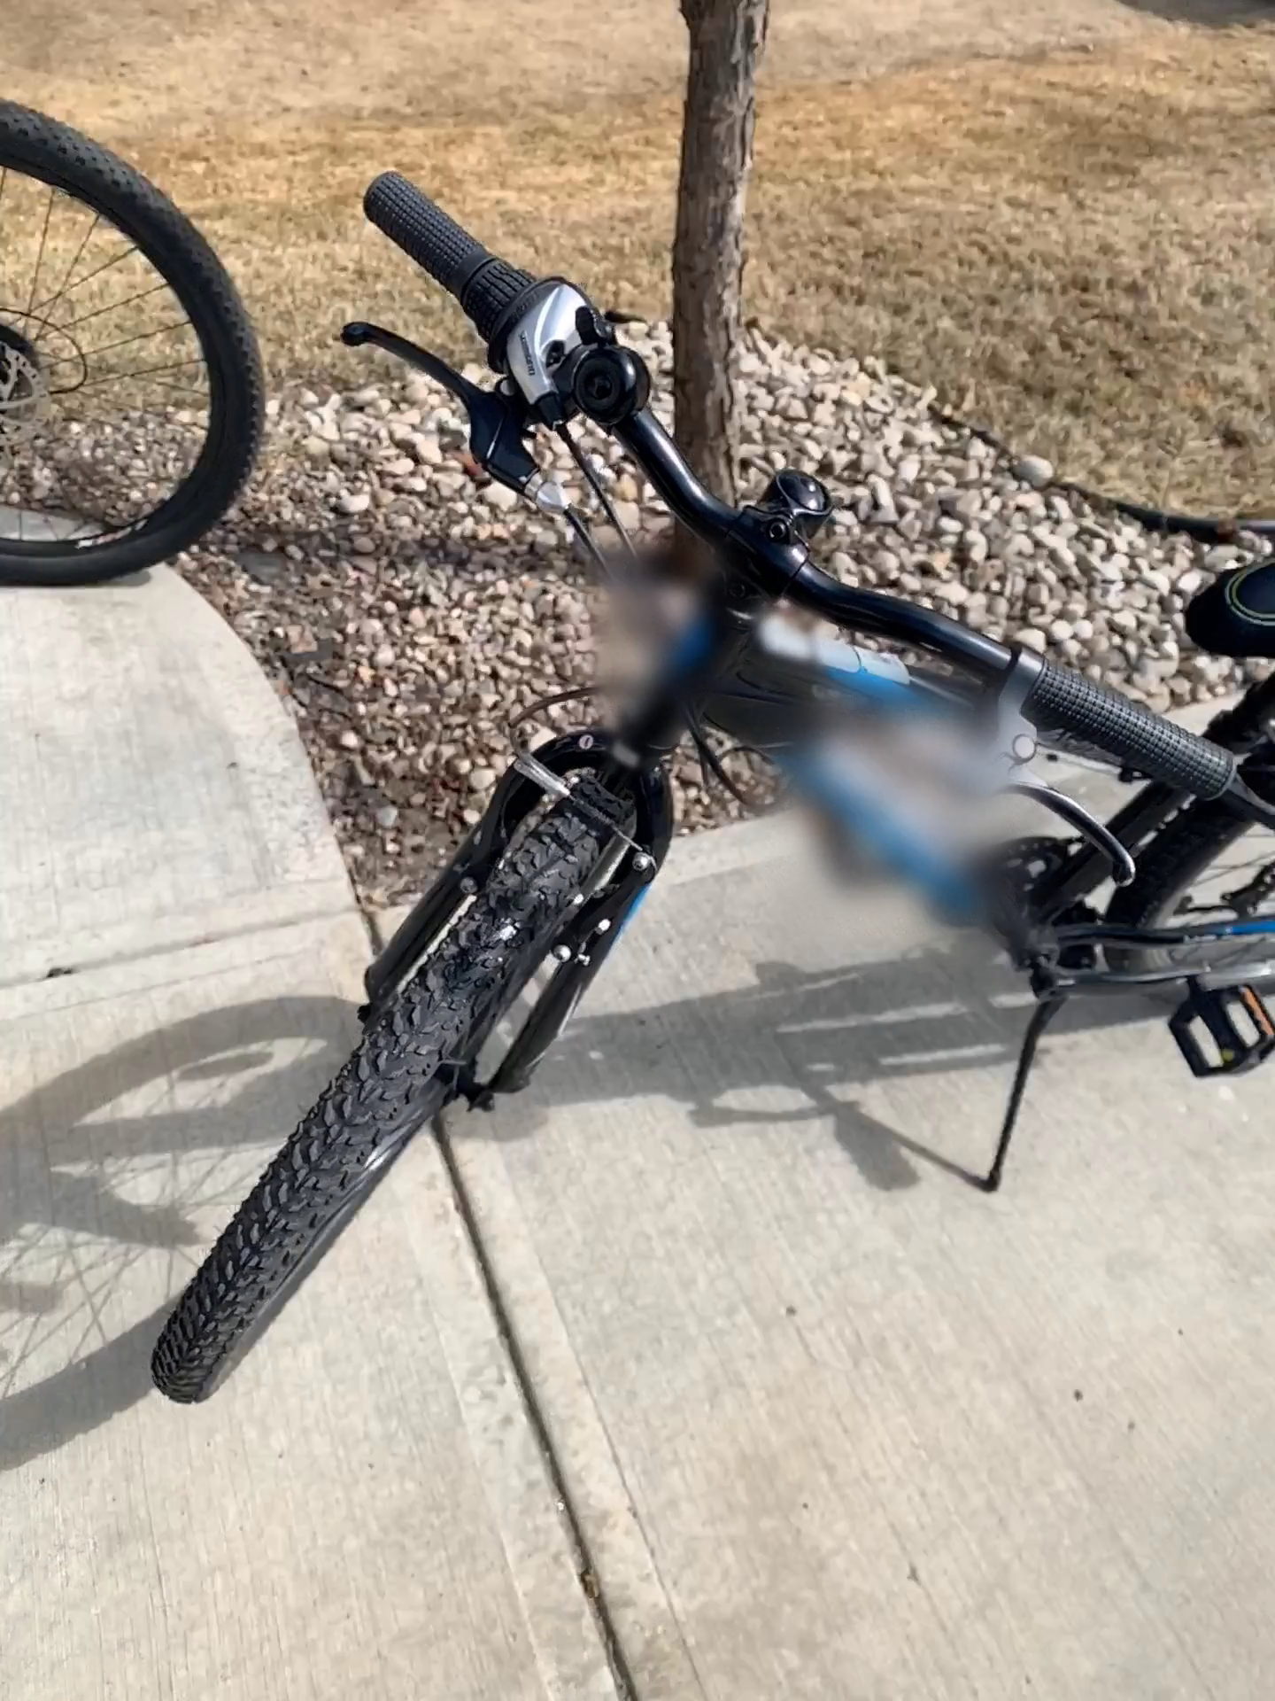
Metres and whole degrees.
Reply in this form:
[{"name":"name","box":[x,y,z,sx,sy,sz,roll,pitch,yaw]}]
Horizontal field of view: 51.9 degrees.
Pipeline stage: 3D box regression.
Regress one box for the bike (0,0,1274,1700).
[{"name":"bike","box":[0.328,0.077,0.950,1.390,0.886,0.516,-18,47,-12]}]
